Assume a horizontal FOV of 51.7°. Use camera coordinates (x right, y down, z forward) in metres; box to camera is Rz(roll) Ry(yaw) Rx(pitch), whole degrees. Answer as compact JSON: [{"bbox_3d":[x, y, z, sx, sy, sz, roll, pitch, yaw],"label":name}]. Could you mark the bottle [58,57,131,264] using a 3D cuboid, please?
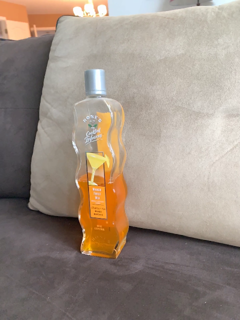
[{"bbox_3d":[-0.034,0.002,0.402,0.080,0.299,0.080,-1,10,0],"label":"bottle"}]
